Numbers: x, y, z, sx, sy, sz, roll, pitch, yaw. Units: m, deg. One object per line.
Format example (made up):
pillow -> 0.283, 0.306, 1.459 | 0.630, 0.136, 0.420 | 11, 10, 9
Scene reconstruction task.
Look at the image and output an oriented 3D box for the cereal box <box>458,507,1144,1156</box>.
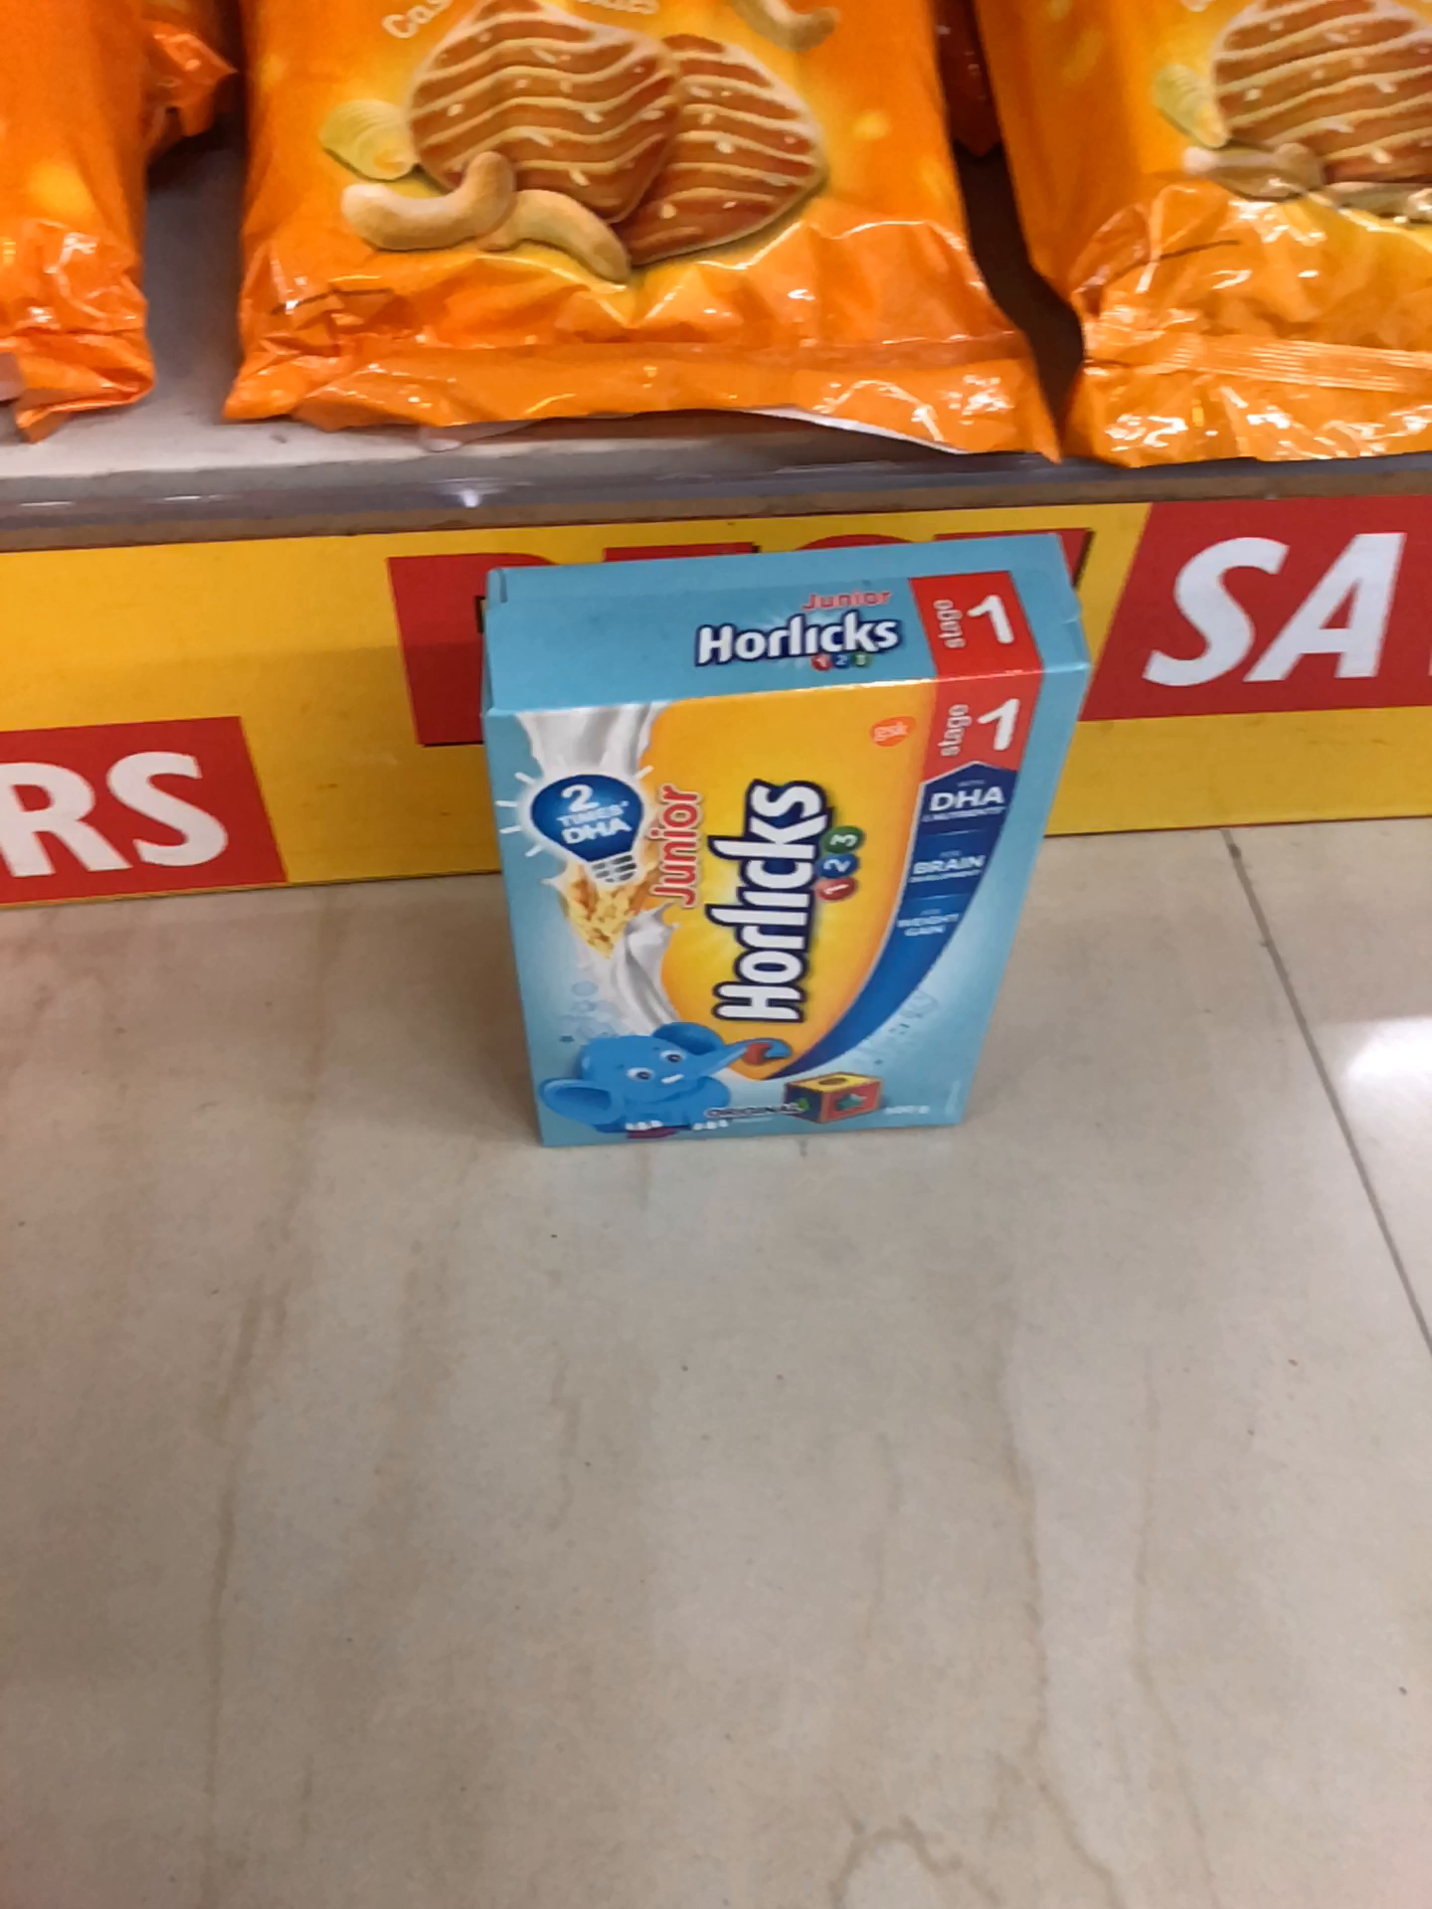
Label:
cereal box -> 0.016, -0.019, 0.417 | 0.140, 0.199, 0.050 | -3, 55, -2
